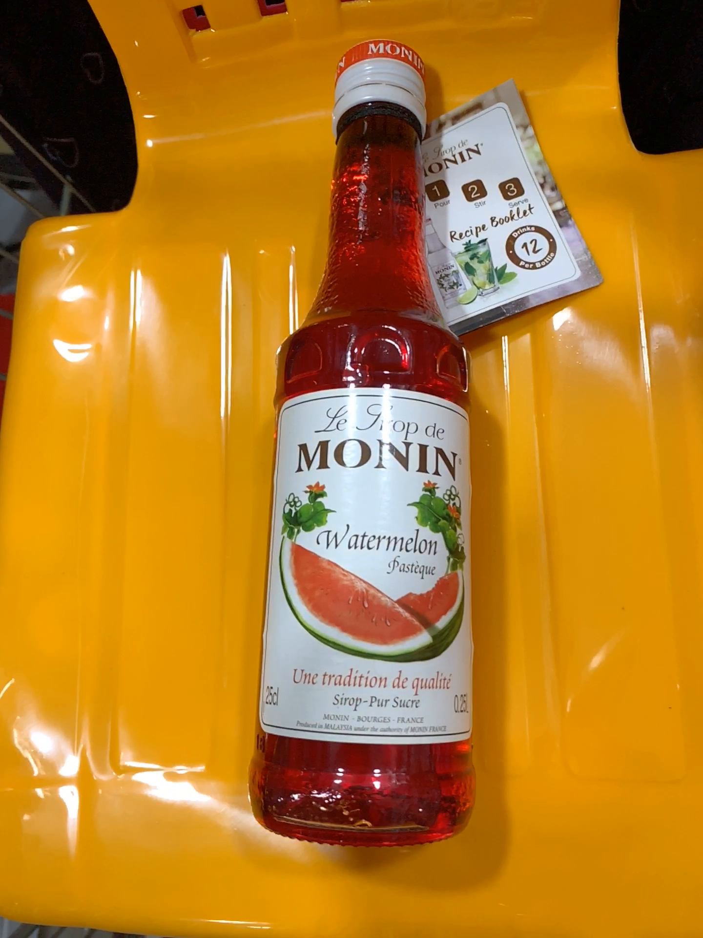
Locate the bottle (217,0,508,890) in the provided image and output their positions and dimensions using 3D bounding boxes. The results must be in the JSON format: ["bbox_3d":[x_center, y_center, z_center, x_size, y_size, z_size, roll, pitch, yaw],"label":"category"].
[{"bbox_3d":[0.007,-0.021,0.200,0.060,0.050,0.230,3,78,-1],"label":"bottle"}]
